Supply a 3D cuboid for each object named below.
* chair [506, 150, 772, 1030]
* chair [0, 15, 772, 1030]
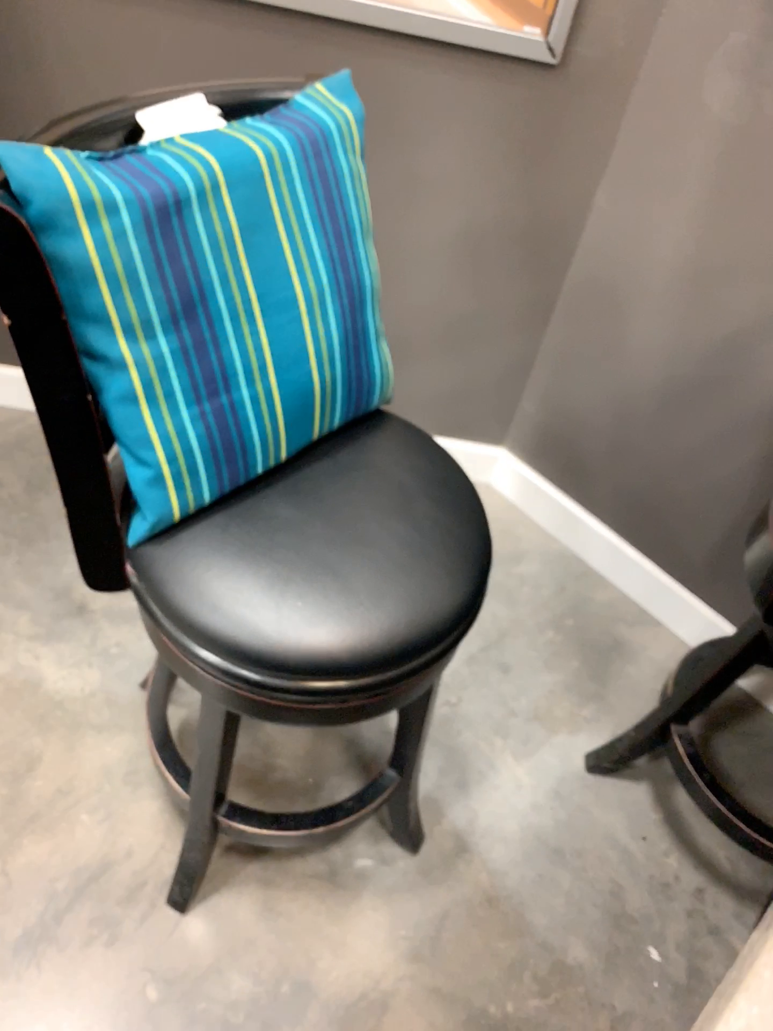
[{"bbox_3d":[0.679,0.134,1.078,0.537,0.924,0.596,-29,59,-34],"label":"chair"},{"bbox_3d":[-0.123,0.046,0.923,0.537,0.904,0.596,-29,59,-34],"label":"chair"}]
